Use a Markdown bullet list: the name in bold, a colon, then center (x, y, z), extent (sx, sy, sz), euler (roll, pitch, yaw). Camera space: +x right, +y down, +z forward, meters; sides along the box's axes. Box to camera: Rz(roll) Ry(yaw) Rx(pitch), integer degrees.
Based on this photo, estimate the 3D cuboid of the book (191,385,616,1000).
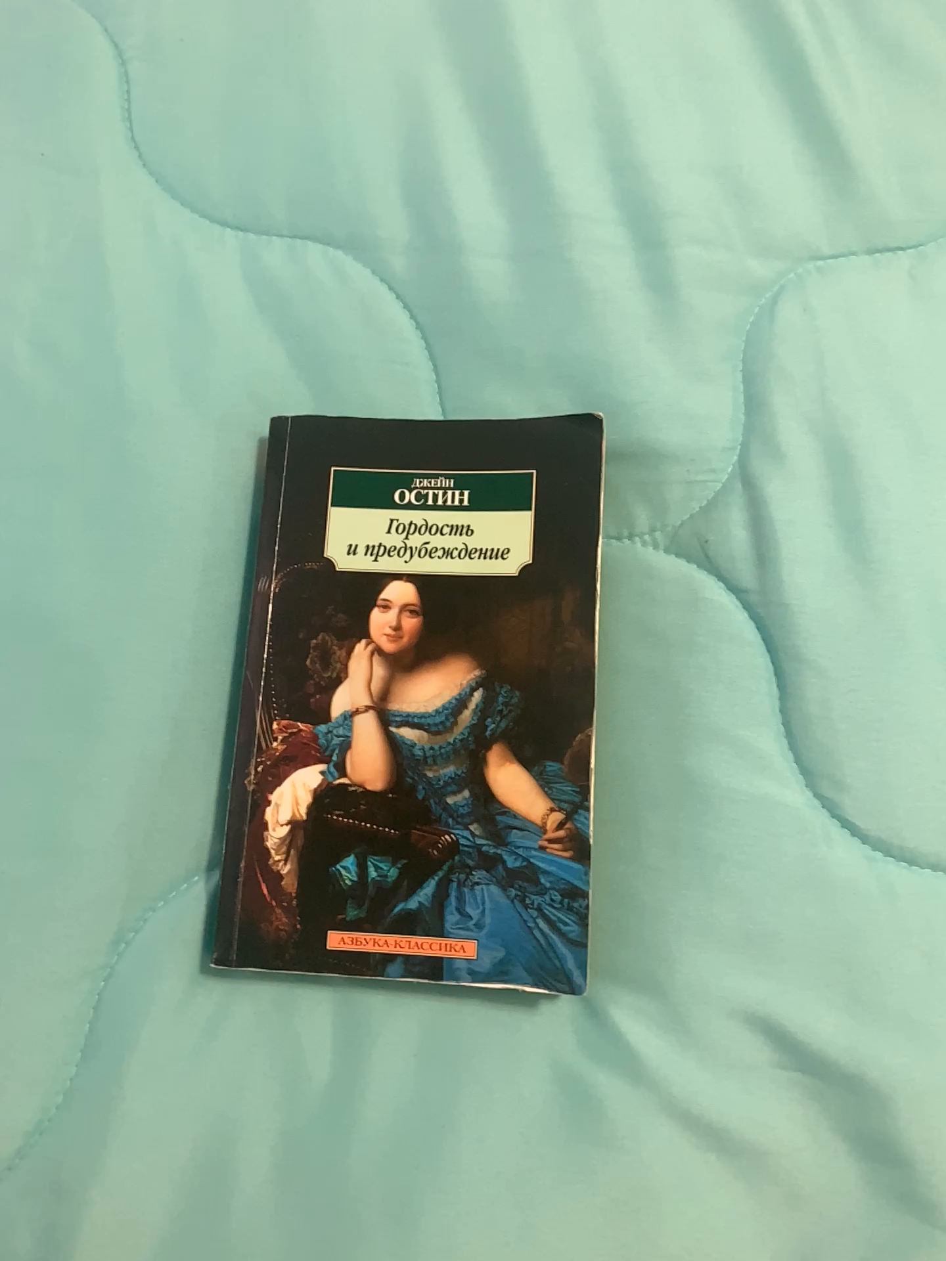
- **book**: center (-0.017, 0.017, 0.303), extent (0.110, 0.044, 0.173), euler (4, 78, -1)
